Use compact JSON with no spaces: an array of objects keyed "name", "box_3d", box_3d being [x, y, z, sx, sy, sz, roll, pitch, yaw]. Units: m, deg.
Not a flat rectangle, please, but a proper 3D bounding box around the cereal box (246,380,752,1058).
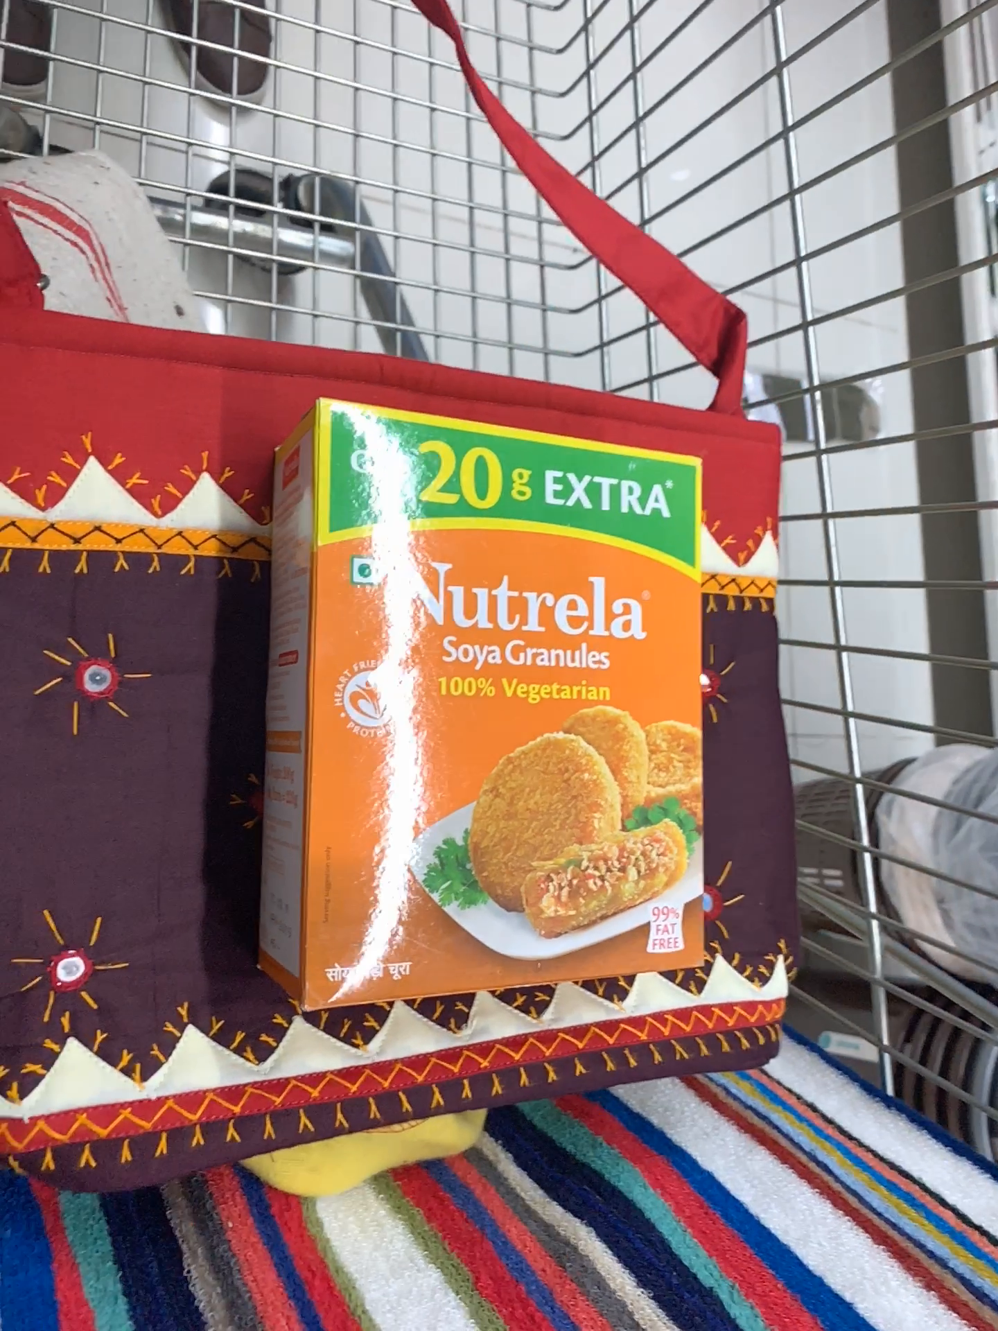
[{"name":"cereal box","box_3d":[-0.001,0.014,0.280,0.120,0.060,0.150,2,84,-25]}]
